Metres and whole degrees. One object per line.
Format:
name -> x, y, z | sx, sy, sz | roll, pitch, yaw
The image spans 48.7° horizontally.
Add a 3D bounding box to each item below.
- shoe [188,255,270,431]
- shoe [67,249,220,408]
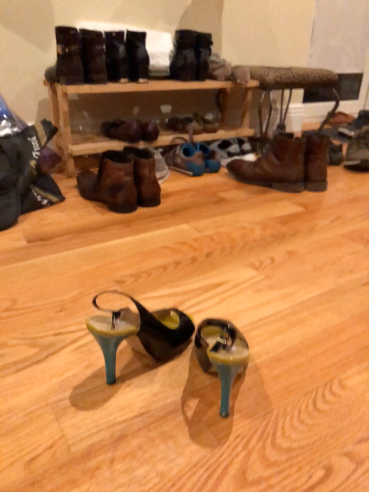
shoe -> 0.053, 0.120, 0.559 | 0.085, 0.131, 0.202 | 2, 26, 2
shoe -> -0.049, 0.105, 0.584 | 0.085, 0.121, 0.205 | 23, 33, 37
